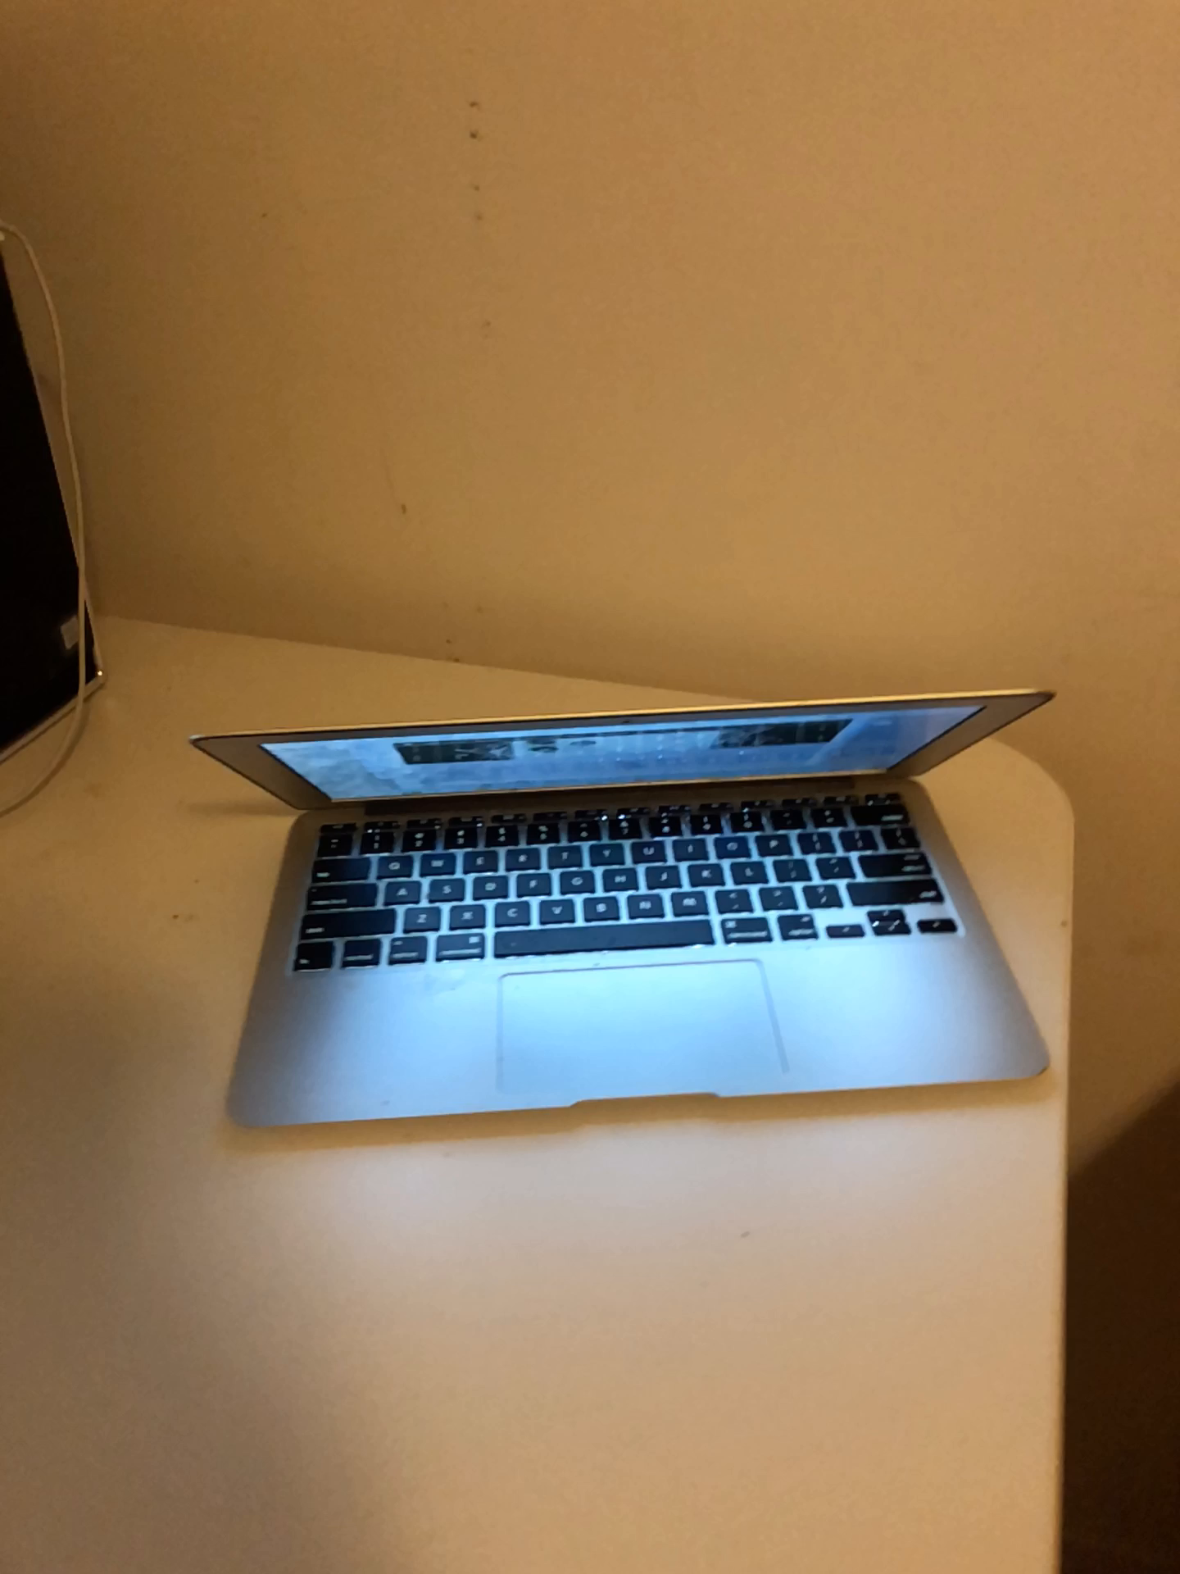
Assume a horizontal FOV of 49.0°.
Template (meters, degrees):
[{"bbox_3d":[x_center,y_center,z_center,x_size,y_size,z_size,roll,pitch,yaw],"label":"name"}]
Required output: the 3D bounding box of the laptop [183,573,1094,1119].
[{"bbox_3d":[0.017,0.010,0.505,0.285,0.108,0.182,-2,34,-5],"label":"laptop"}]
